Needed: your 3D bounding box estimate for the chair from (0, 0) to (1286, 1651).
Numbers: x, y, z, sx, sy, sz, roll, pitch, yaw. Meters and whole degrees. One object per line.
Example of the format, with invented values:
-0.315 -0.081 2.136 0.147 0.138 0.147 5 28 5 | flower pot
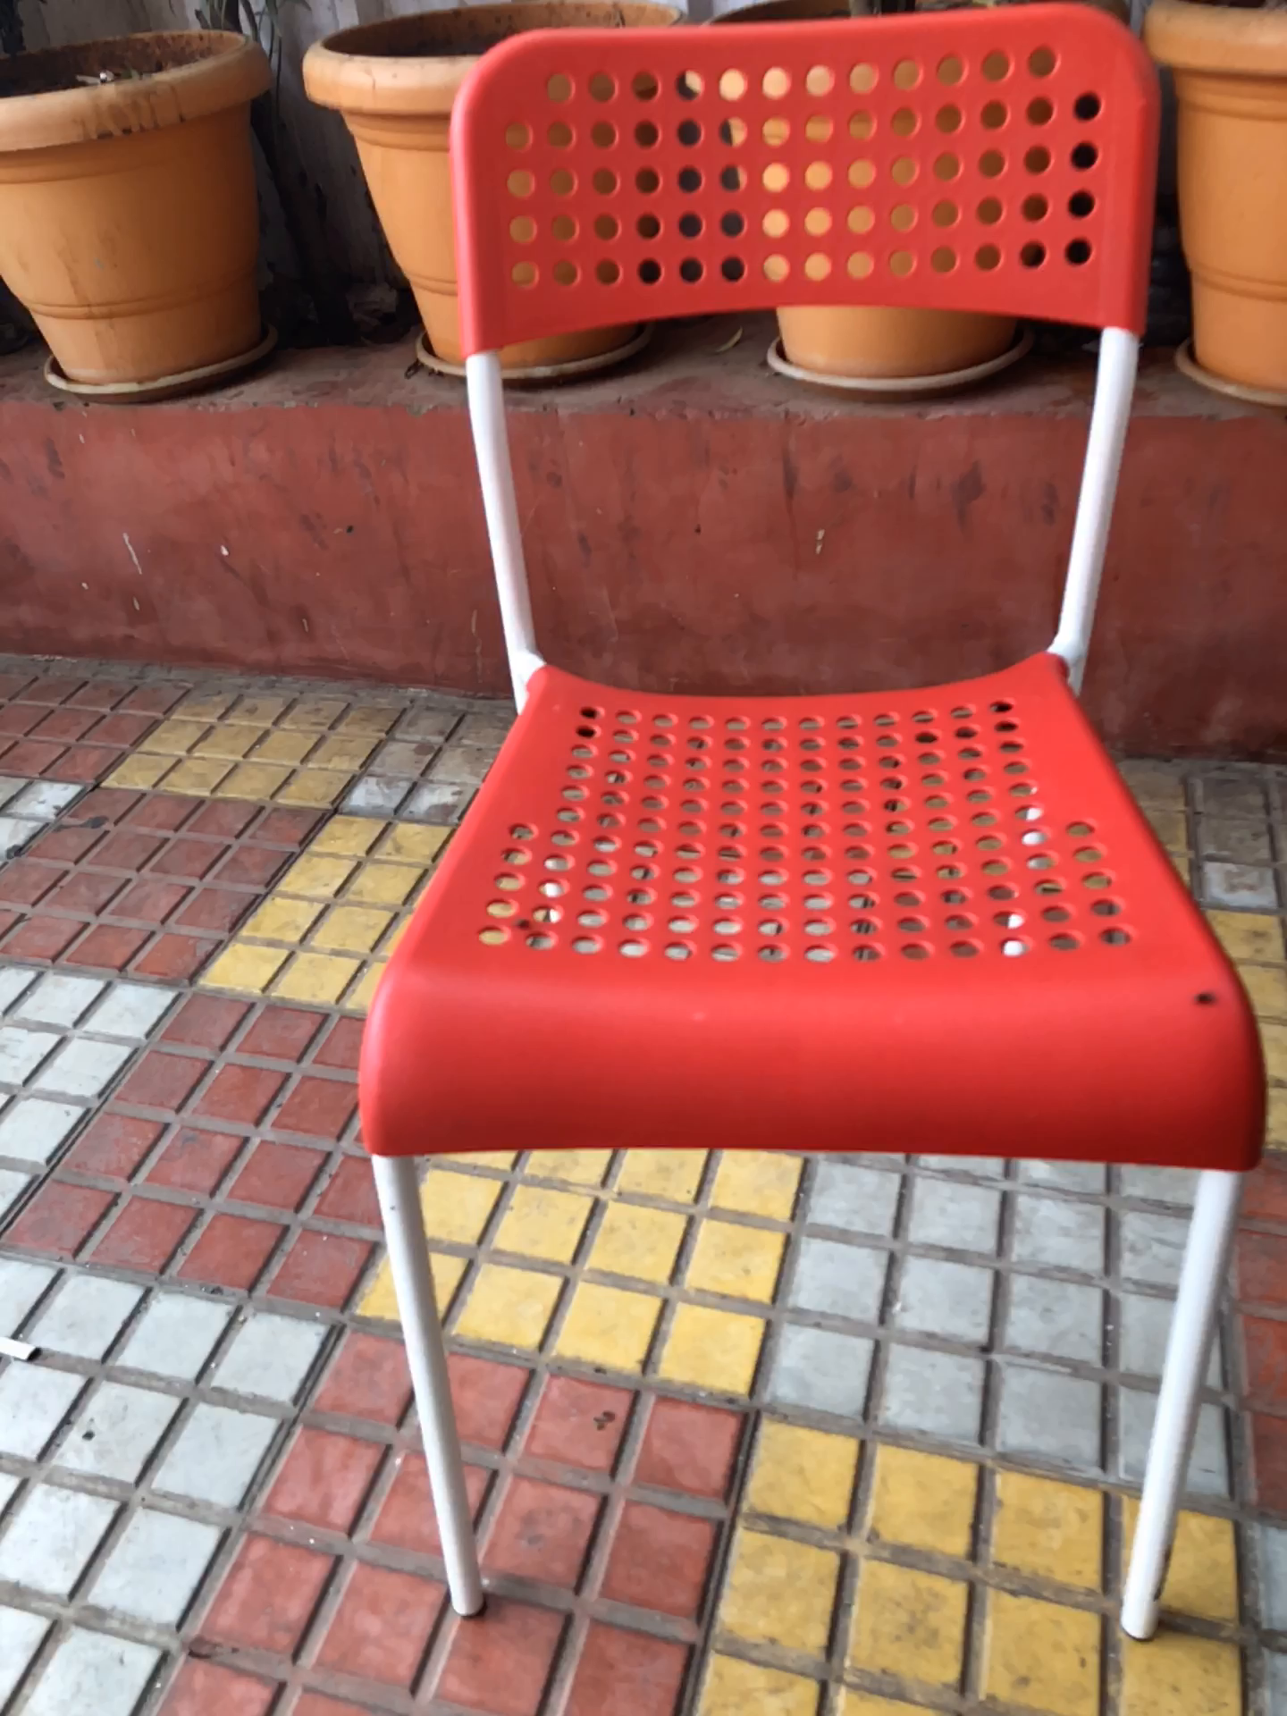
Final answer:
0.063 -0.030 0.762 0.450 0.695 0.544 0 37 5 | chair
